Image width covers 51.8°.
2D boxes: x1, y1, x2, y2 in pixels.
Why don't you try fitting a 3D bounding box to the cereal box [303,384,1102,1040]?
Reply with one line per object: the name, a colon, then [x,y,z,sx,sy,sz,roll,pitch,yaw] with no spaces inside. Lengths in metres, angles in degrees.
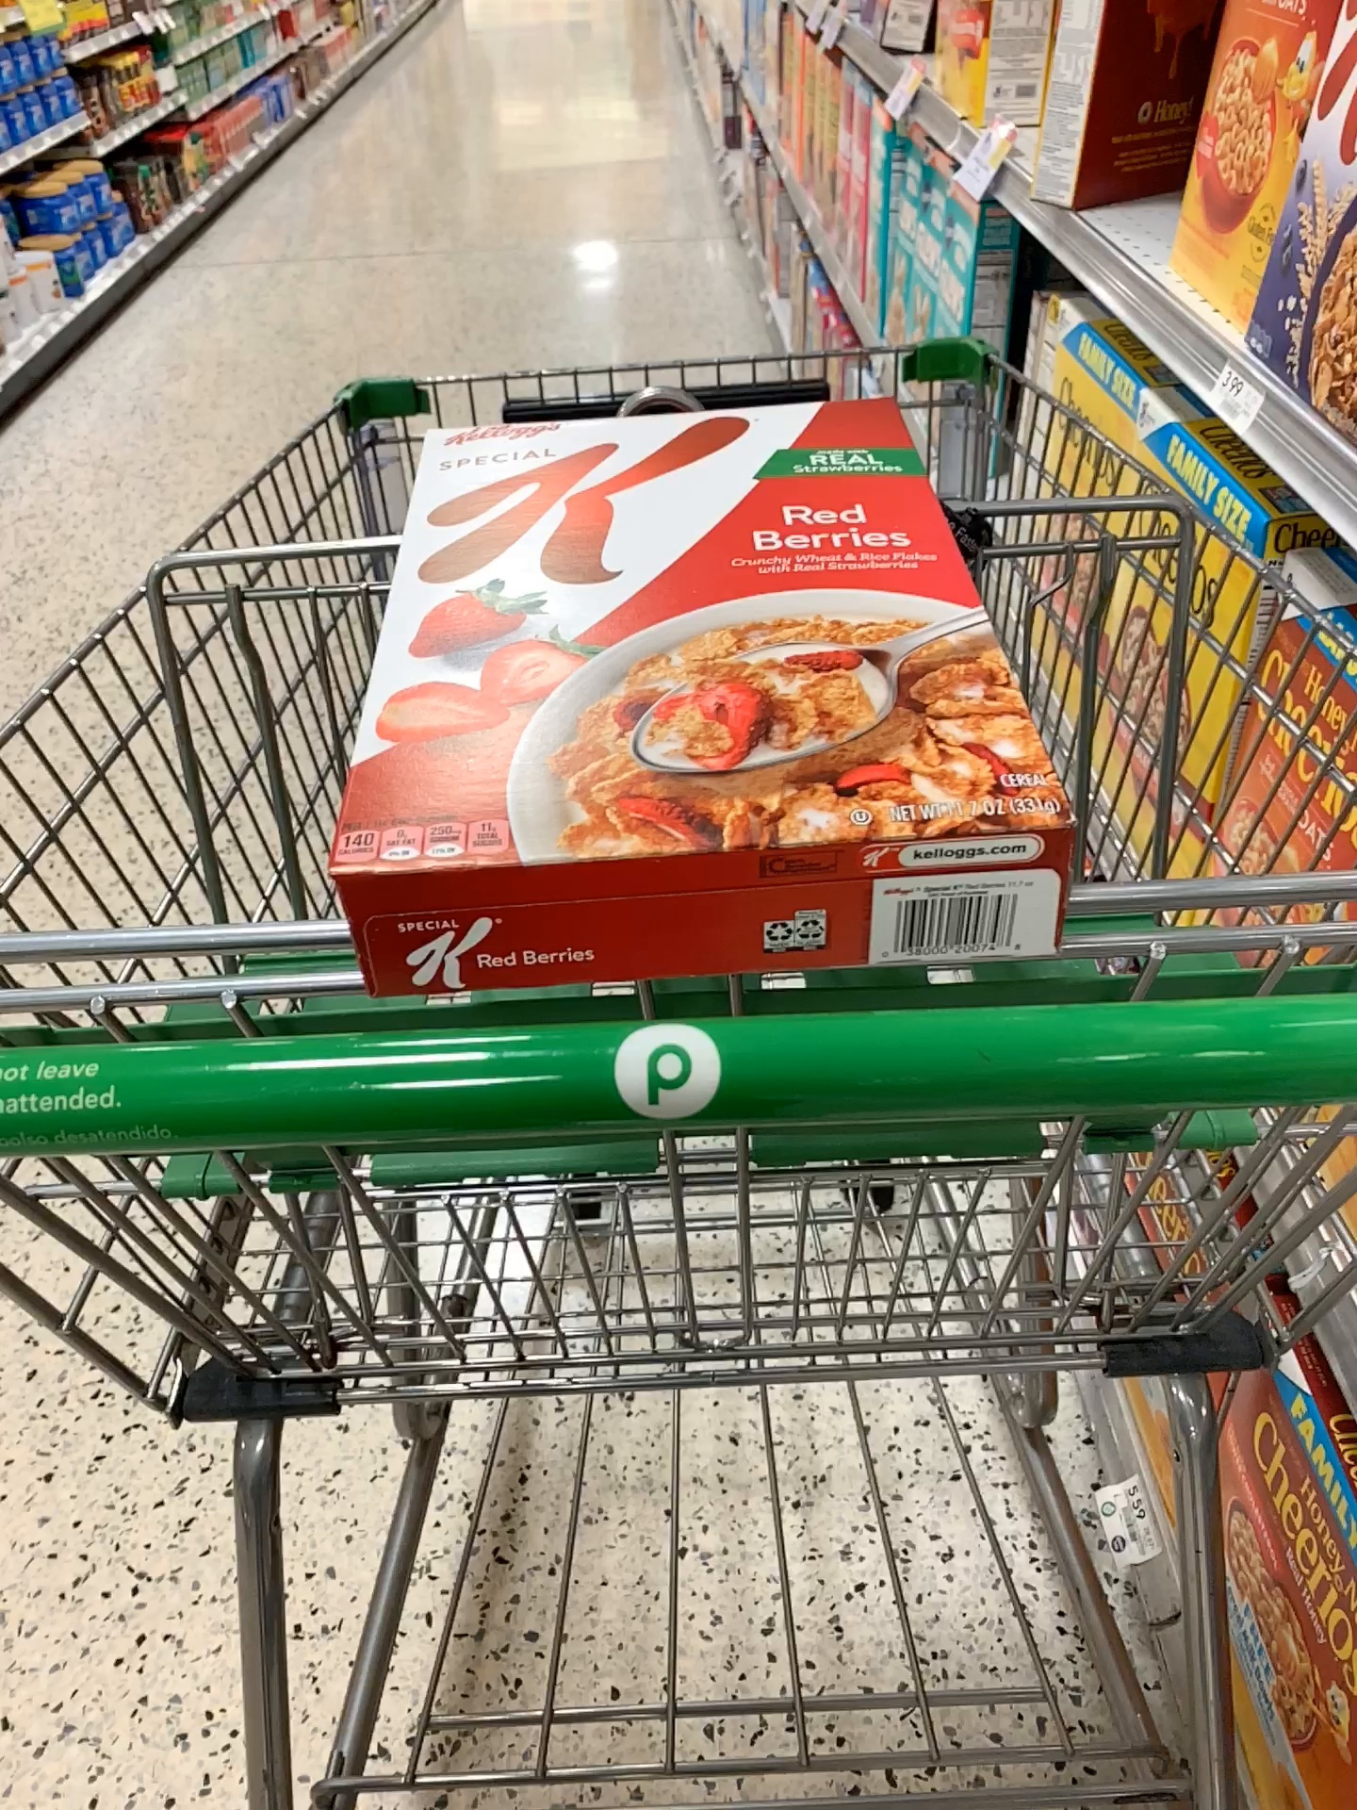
cereal box: [0.000,-0.088,0.479,0.200,0.059,0.293,-4,41,0]
